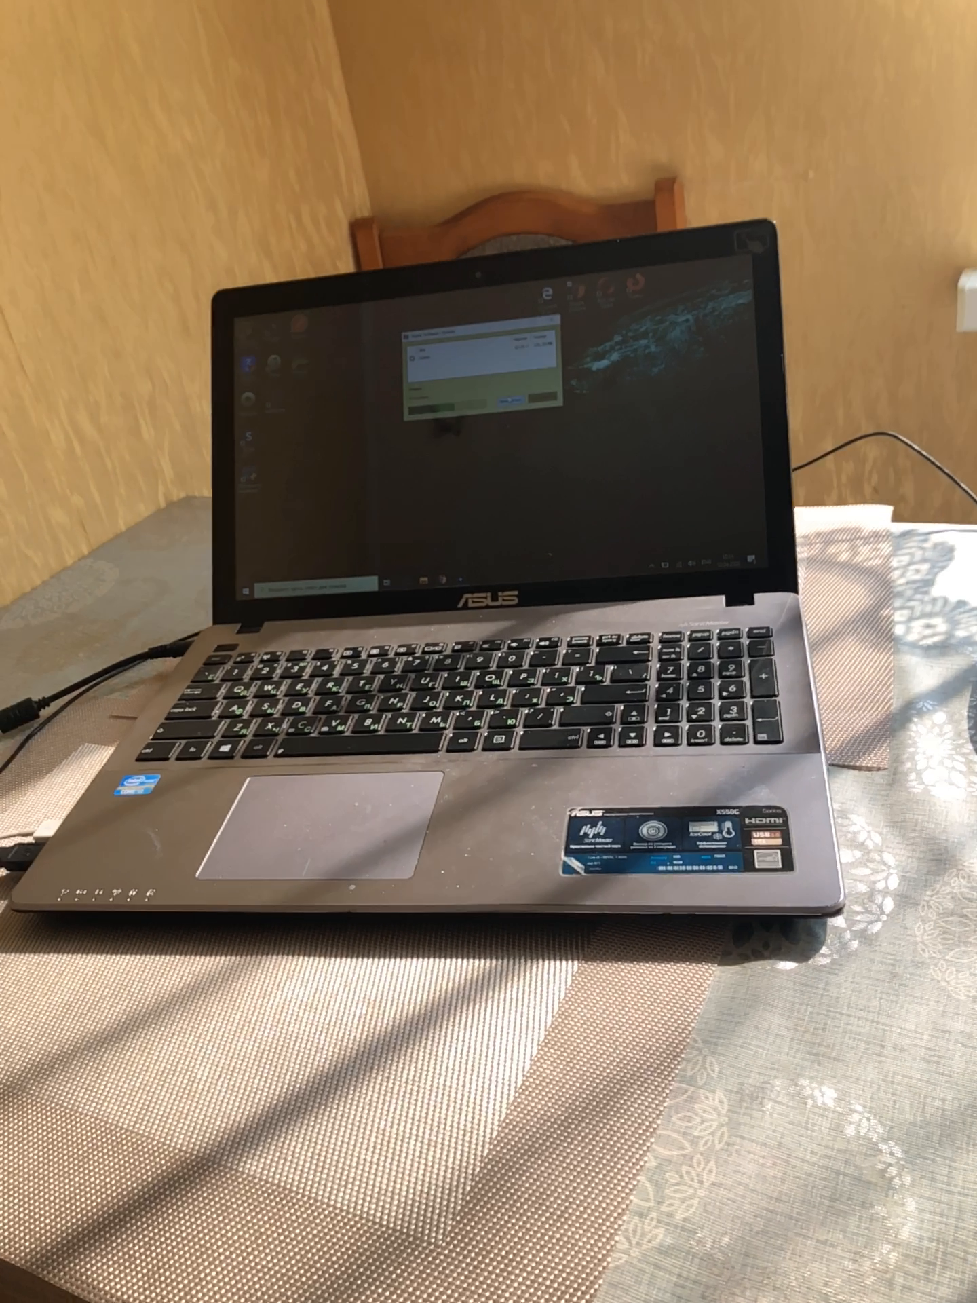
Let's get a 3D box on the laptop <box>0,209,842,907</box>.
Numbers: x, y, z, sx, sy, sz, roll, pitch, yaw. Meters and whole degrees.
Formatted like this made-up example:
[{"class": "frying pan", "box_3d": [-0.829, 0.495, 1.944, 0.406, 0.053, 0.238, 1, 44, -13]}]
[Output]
[{"class": "laptop", "box_3d": [-0.025, -0.077, 0.588, 0.378, 0.183, 0.399, -3, 32, 13]}]
